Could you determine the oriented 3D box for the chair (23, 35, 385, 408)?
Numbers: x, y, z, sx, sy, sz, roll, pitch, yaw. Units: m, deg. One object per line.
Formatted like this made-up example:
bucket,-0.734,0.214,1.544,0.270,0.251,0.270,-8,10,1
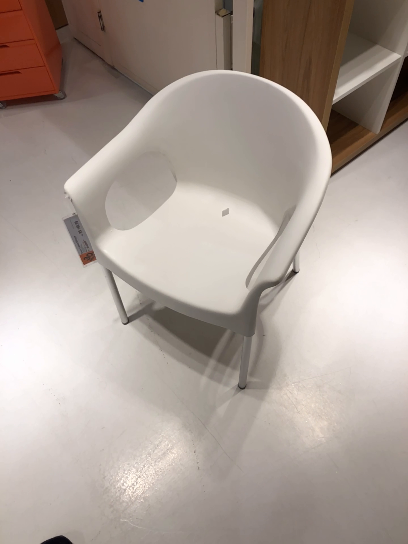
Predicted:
chair,0.033,-0.127,1.343,0.611,0.736,0.612,26,61,20
